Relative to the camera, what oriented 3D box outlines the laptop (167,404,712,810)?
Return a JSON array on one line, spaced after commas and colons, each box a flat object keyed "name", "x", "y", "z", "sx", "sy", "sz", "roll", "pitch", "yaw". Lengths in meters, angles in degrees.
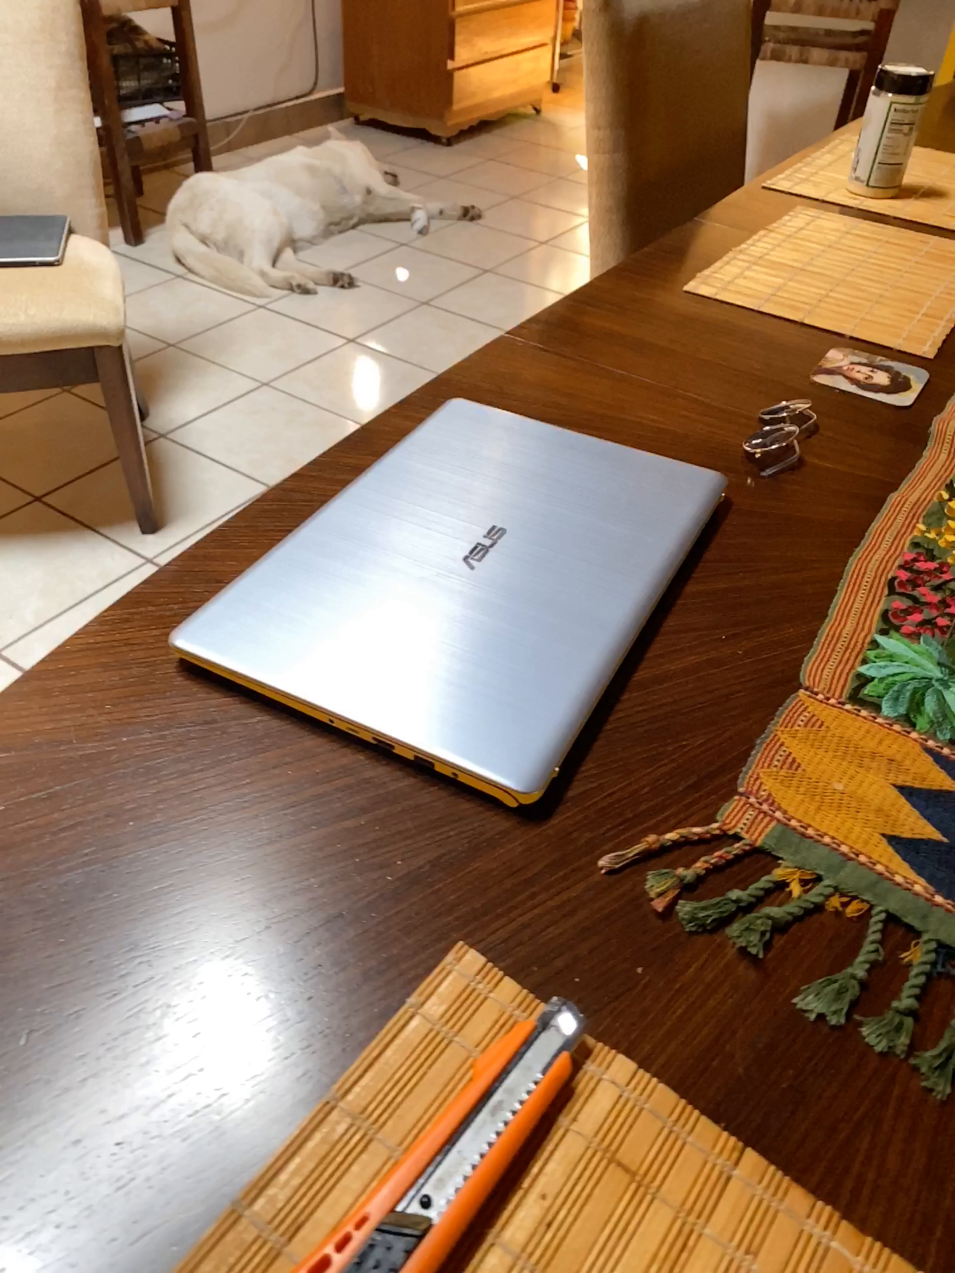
[{"name": "laptop", "x": -0.001, "y": -0.057, "z": 0.706, "sx": 0.246, "sy": 0.001, "sz": 0.385, "roll": 20, "pitch": 44, "yaw": 18}]
